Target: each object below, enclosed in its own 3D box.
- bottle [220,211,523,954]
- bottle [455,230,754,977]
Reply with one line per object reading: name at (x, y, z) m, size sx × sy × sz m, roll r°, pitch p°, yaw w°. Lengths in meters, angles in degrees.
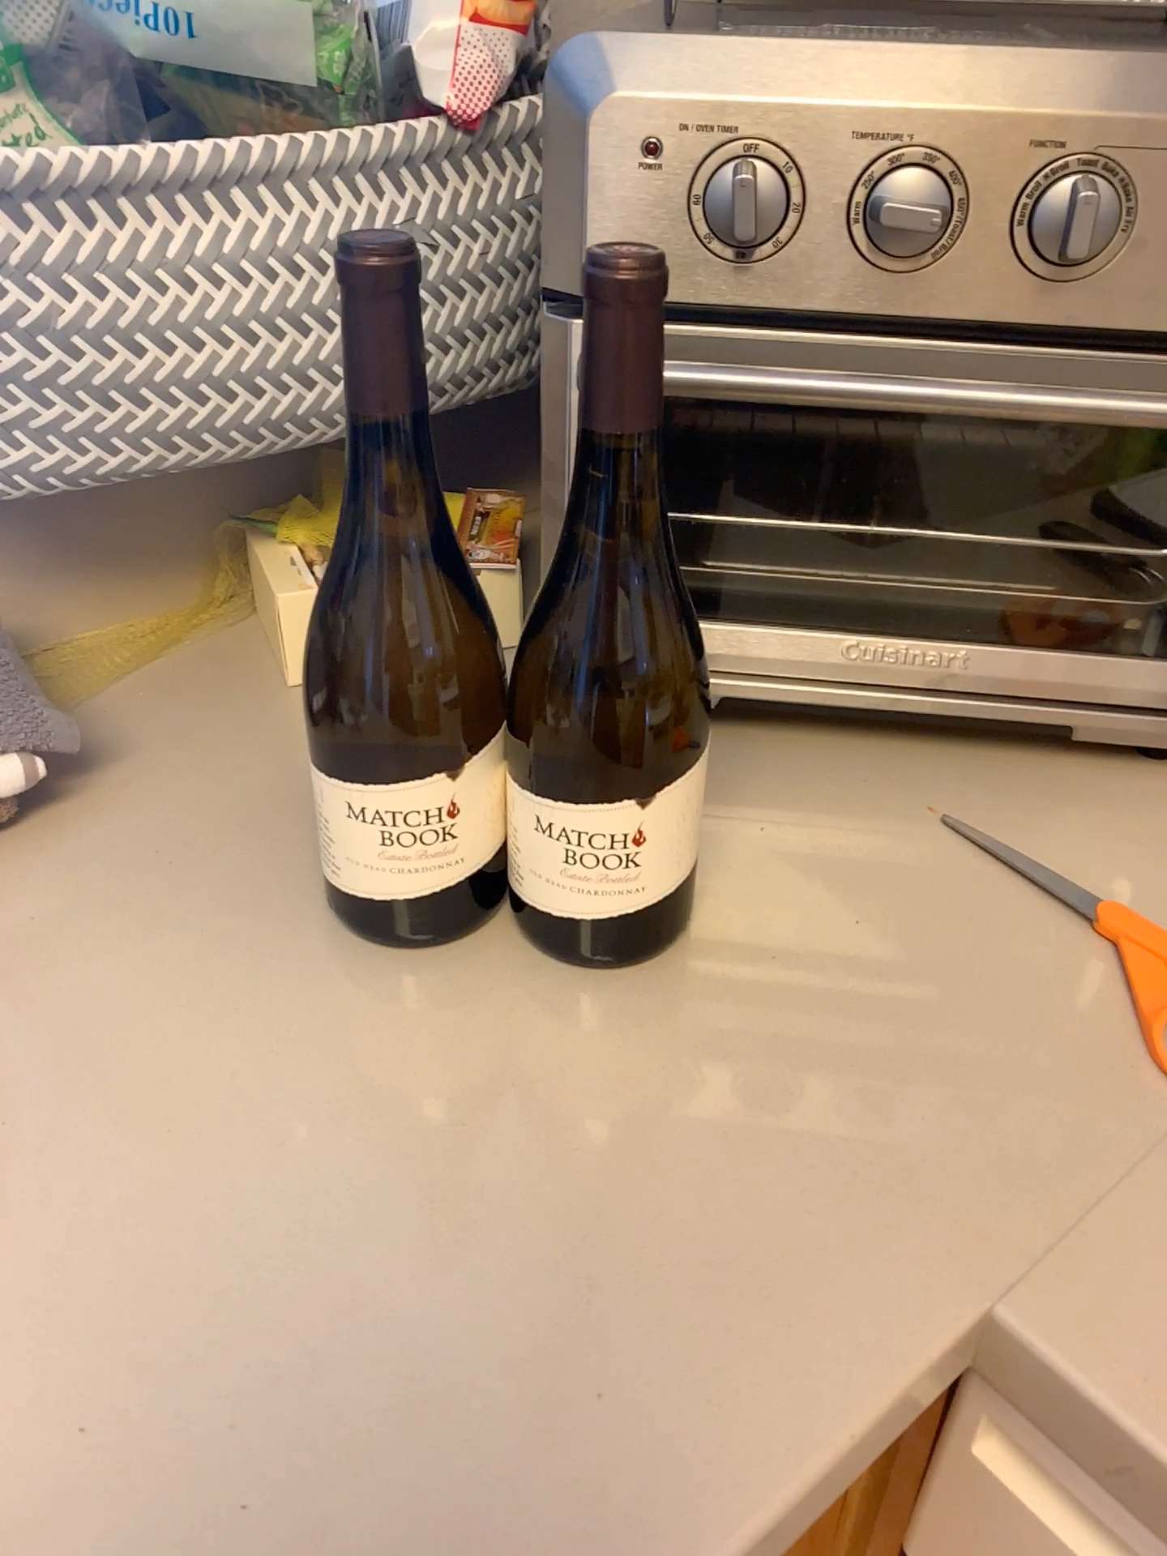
bottle at (-0.072, -0.067, 0.491) m, size 0.090 × 0.288 × 0.091 m, roll 1°, pitch 35°, yaw -1°
bottle at (0.007, -0.057, 0.475) m, size 0.090 × 0.278 × 0.091 m, roll 1°, pitch 35°, yaw -1°
